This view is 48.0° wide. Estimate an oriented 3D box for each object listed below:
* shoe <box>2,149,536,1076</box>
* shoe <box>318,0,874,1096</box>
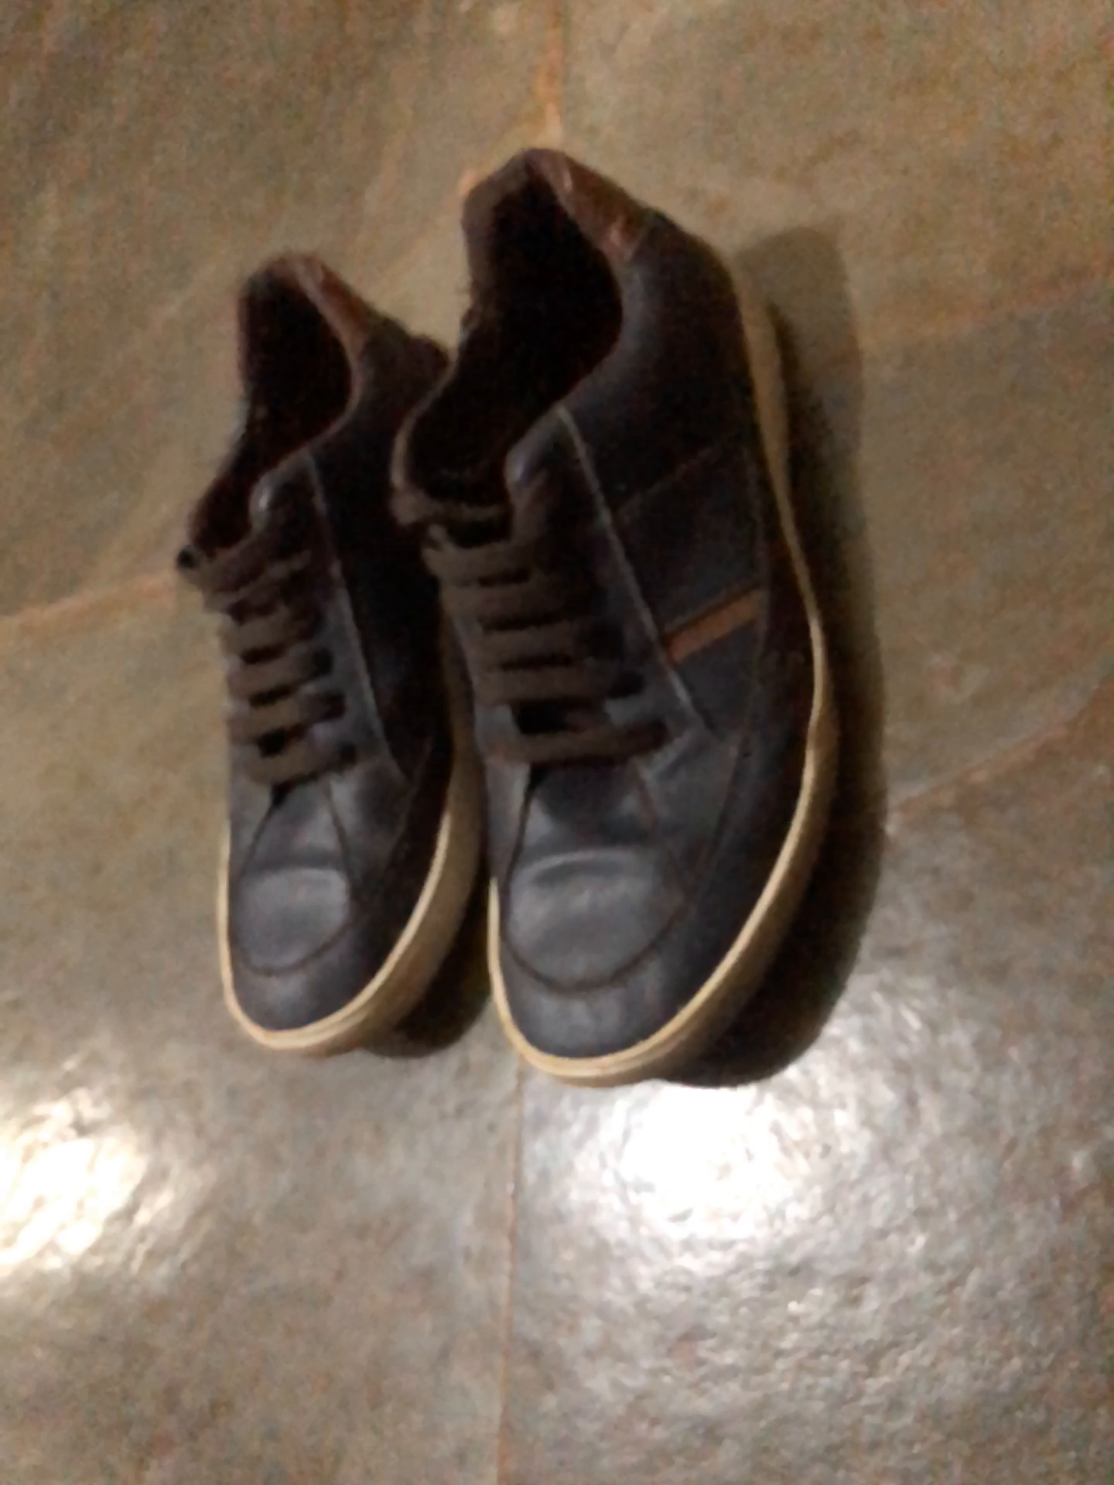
[{"bbox_3d":[-0.091,-0.036,0.442,0.120,0.100,0.291,-9,70,33],"label":"shoe"},{"bbox_3d":[0.014,-0.047,0.372,0.110,0.100,0.291,-11,69,32],"label":"shoe"}]
